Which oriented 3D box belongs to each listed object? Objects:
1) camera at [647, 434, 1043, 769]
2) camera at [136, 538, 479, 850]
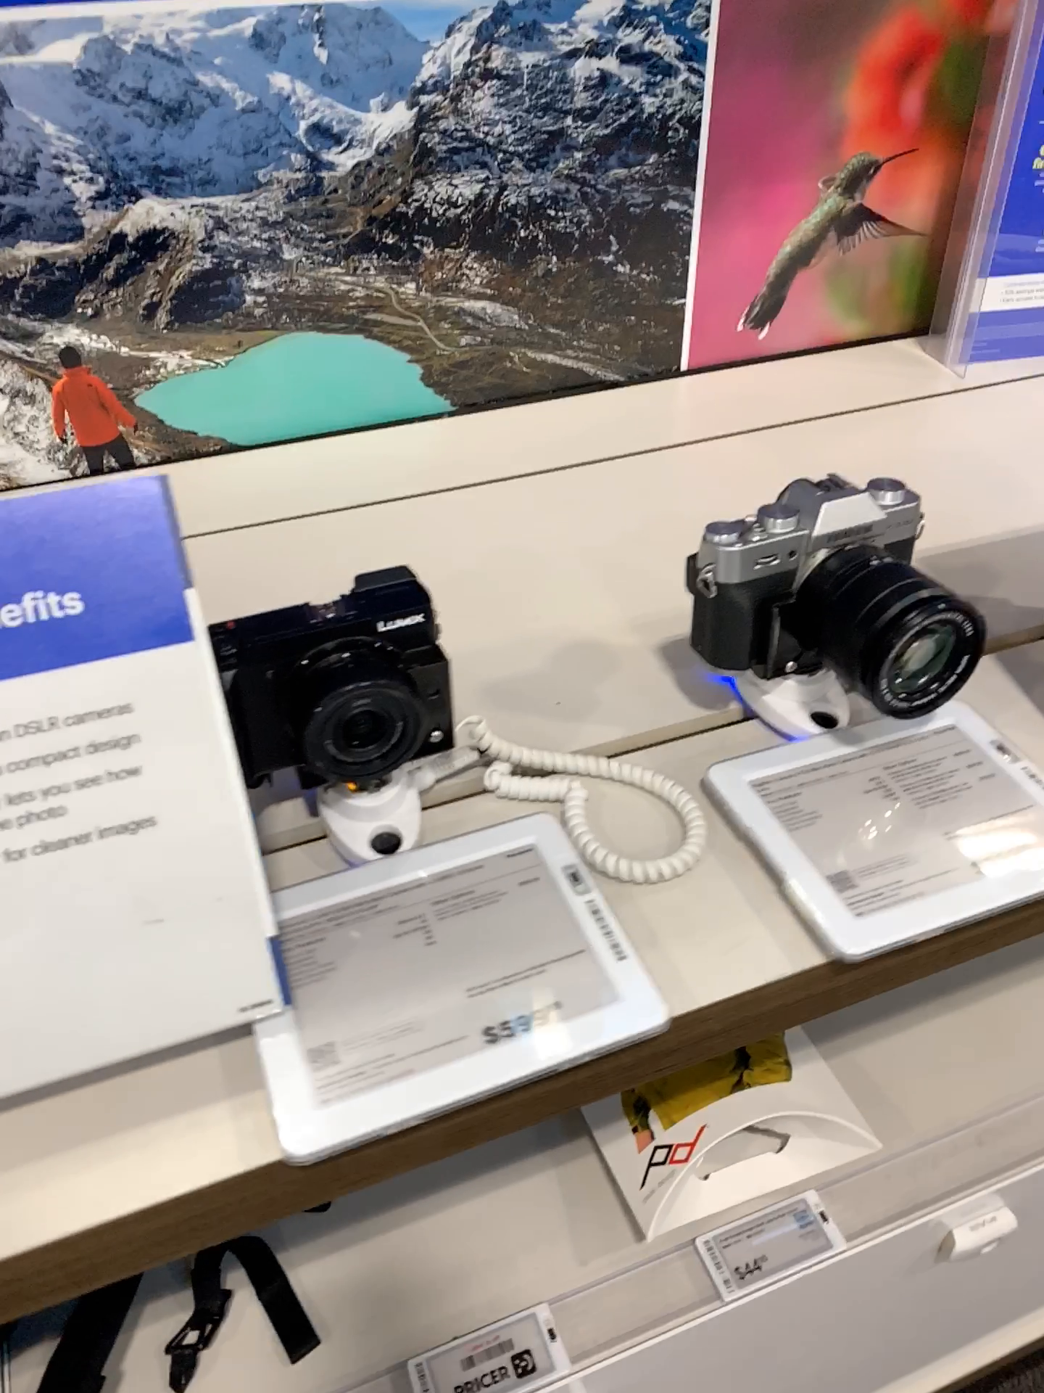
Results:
[{"bbox_3d":[0.143,-0.050,0.495,0.120,0.080,0.121,-15,41,-17],"label":"camera"},{"bbox_3d":[-0.088,-0.004,0.450,0.120,0.080,0.070,-15,41,-17],"label":"camera"}]
